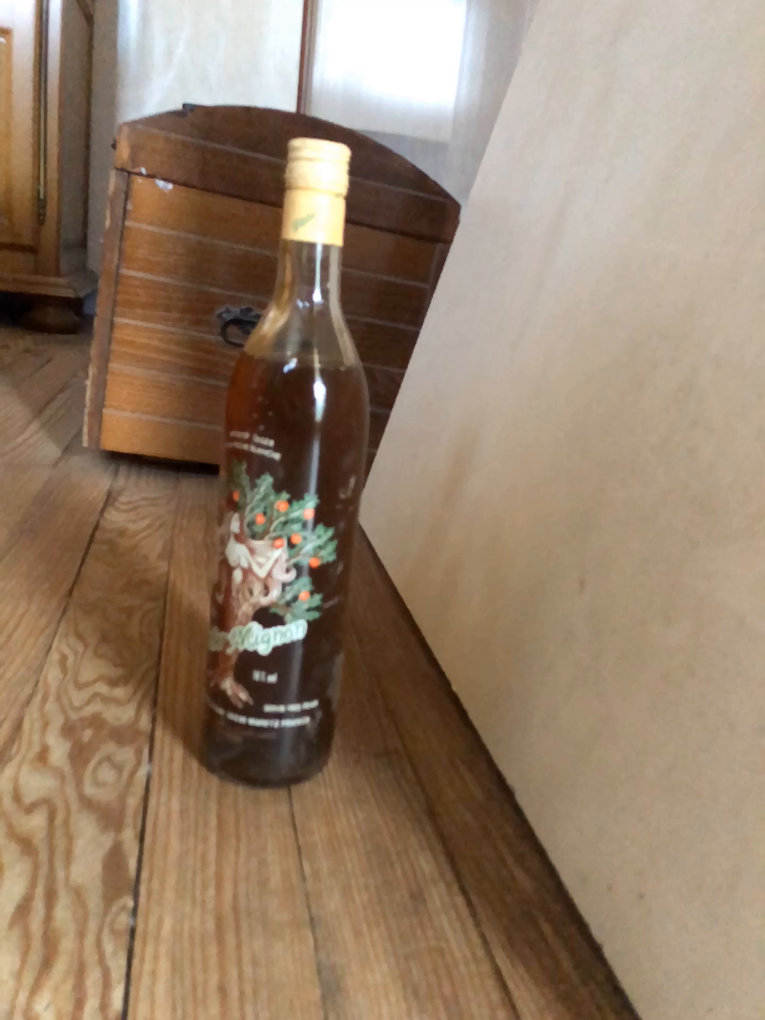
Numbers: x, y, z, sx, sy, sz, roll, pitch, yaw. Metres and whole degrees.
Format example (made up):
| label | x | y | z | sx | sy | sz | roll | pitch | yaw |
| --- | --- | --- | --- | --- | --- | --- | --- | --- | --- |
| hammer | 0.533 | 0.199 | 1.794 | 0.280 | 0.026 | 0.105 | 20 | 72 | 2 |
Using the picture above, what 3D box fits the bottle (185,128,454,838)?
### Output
| label | x | y | z | sx | sy | sz | roll | pitch | yaw |
| --- | --- | --- | --- | --- | --- | --- | --- | --- | --- |
| bottle | -0.037 | -0.009 | 0.414 | 0.080 | 0.319 | 0.070 | 16 | 18 | 33 |
